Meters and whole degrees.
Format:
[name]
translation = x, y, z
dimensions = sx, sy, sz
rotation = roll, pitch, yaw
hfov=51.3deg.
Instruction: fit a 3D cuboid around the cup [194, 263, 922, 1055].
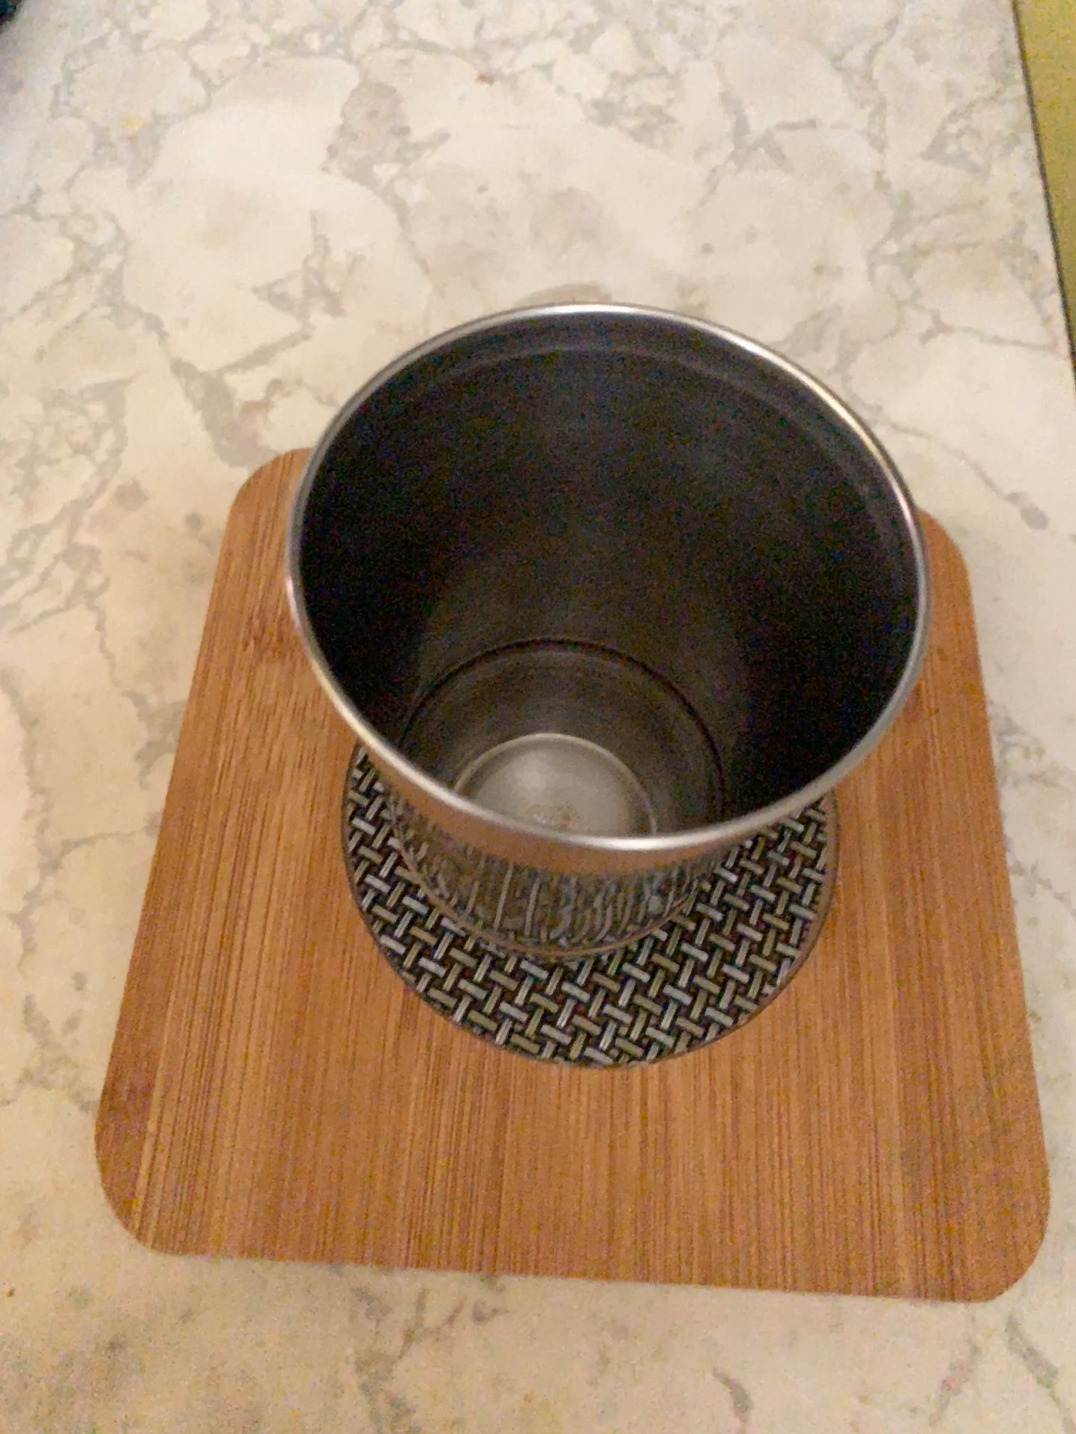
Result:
[cup]
translation = 0.004, 0.000, 0.165
dimensions = 0.070, 0.091, 0.073
rotation = 1, 62, -2
